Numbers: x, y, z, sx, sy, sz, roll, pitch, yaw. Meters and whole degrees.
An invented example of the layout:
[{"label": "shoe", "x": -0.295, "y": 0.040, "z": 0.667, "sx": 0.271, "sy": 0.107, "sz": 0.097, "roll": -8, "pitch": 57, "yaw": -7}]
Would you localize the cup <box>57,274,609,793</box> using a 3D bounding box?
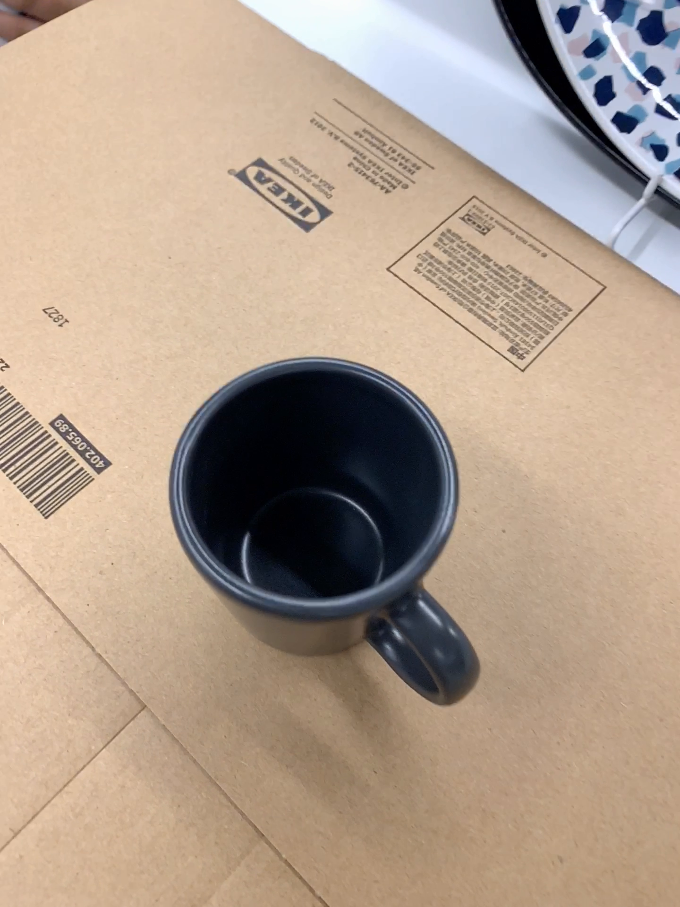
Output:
[{"label": "cup", "x": -0.003, "y": 0.020, "z": 0.164, "sx": 0.090, "sy": 0.060, "sz": 0.060, "roll": 39, "pitch": 67, "yaw": 14}]
